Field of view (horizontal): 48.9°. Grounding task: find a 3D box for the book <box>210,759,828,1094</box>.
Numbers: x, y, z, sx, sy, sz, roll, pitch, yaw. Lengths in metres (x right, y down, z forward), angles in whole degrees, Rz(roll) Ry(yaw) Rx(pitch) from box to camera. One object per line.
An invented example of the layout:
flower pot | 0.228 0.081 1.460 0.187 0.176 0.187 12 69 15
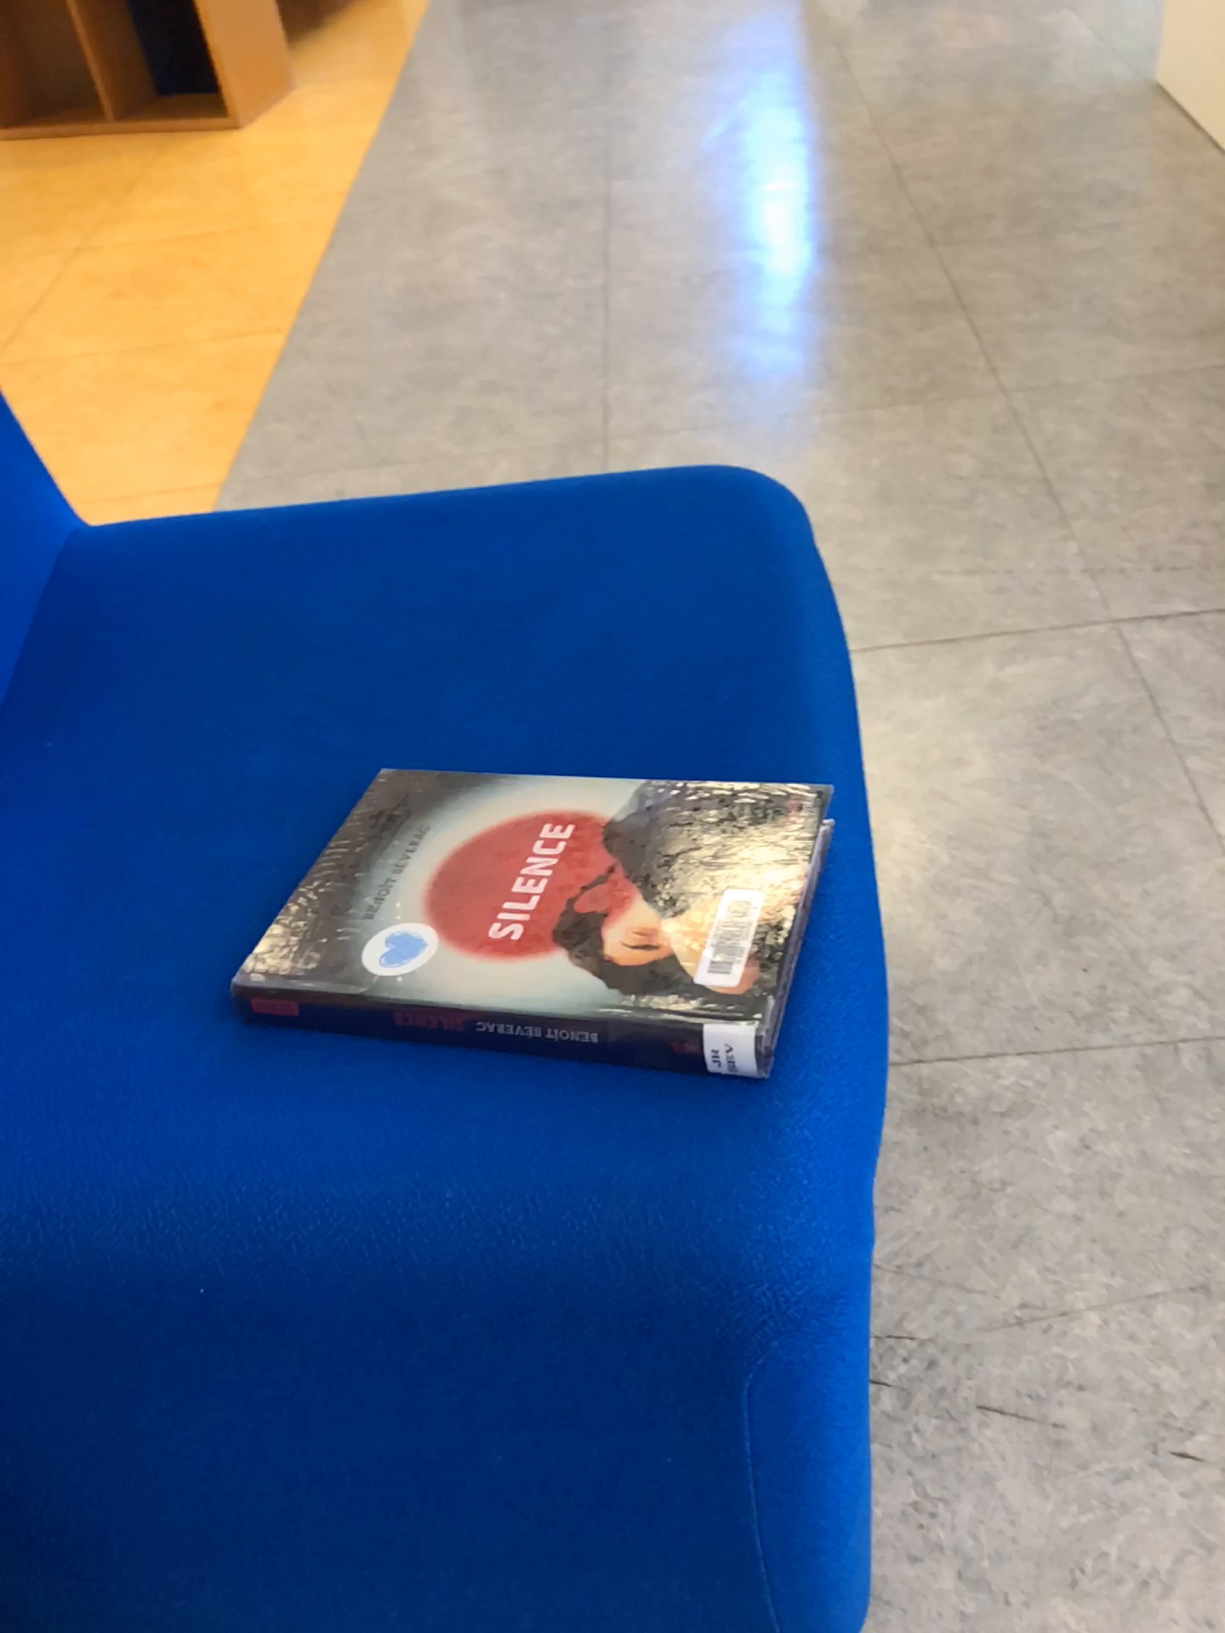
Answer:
book | -0.031 0.034 0.539 0.211 0.023 0.147 3 40 18
